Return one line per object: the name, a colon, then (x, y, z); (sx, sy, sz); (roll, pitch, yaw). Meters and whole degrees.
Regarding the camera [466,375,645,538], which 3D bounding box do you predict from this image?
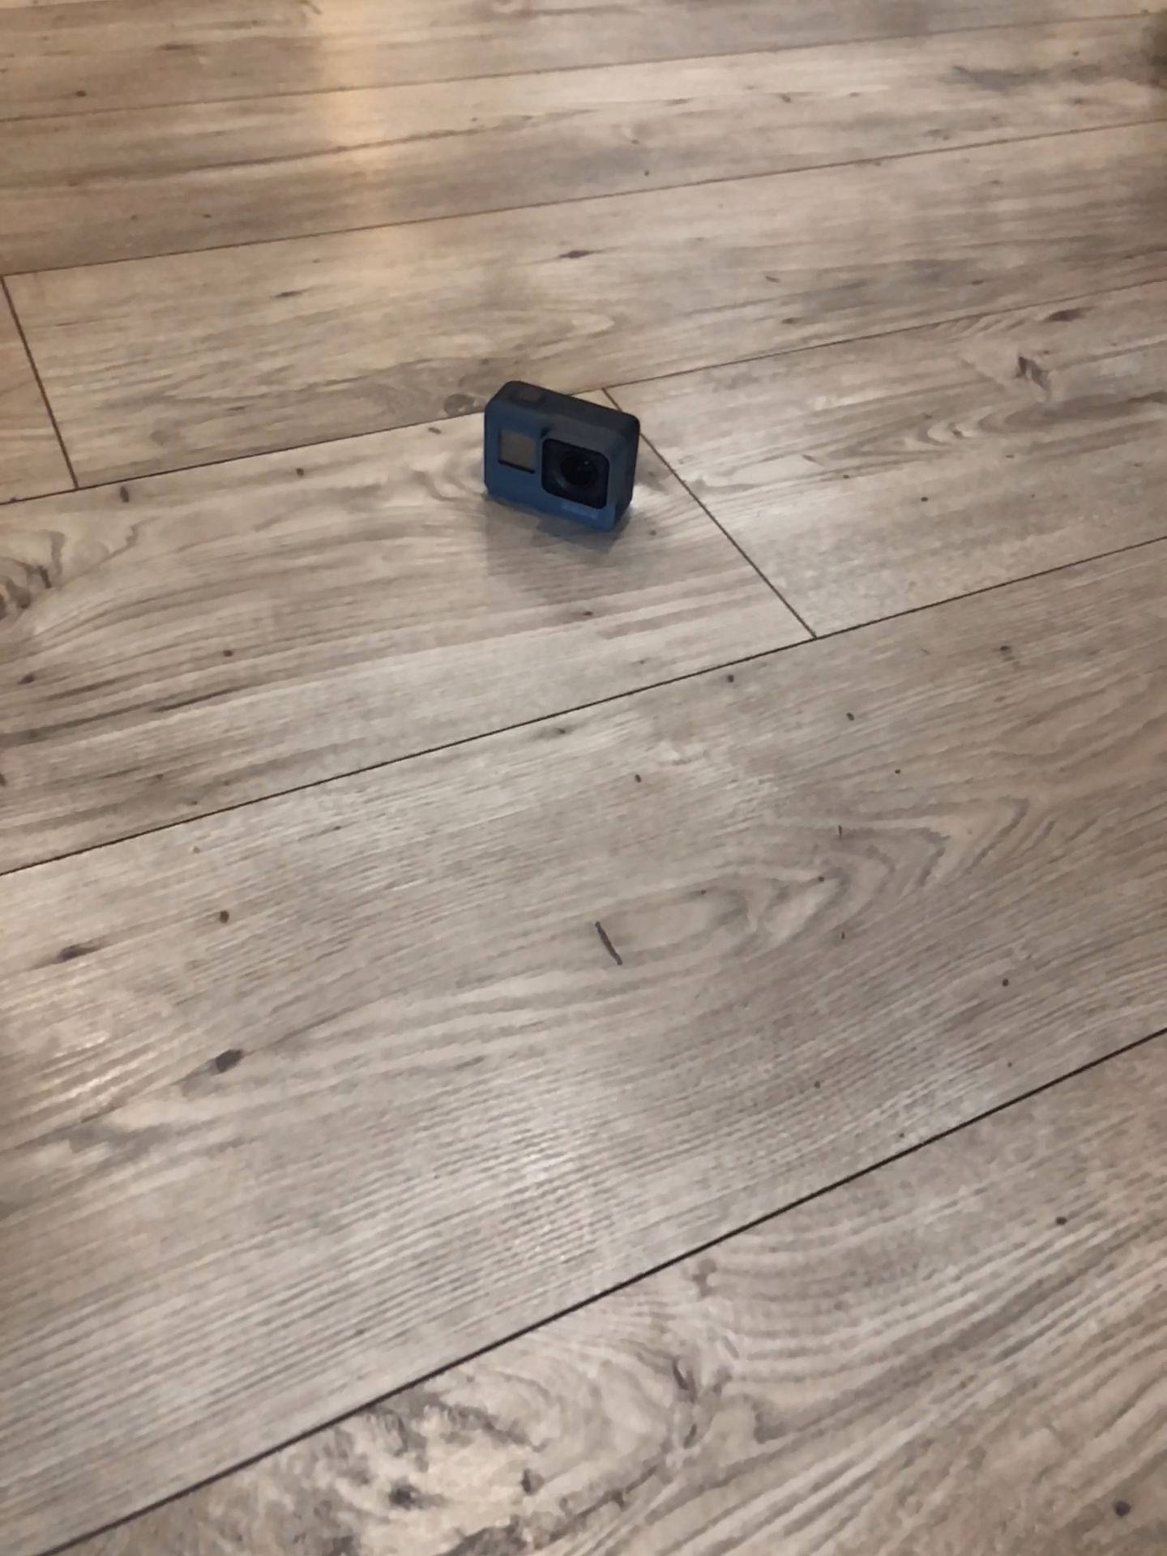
camera: (-0.012, -0.133, 0.533); (0.065, 0.040, 0.032); (19, 48, 12)
